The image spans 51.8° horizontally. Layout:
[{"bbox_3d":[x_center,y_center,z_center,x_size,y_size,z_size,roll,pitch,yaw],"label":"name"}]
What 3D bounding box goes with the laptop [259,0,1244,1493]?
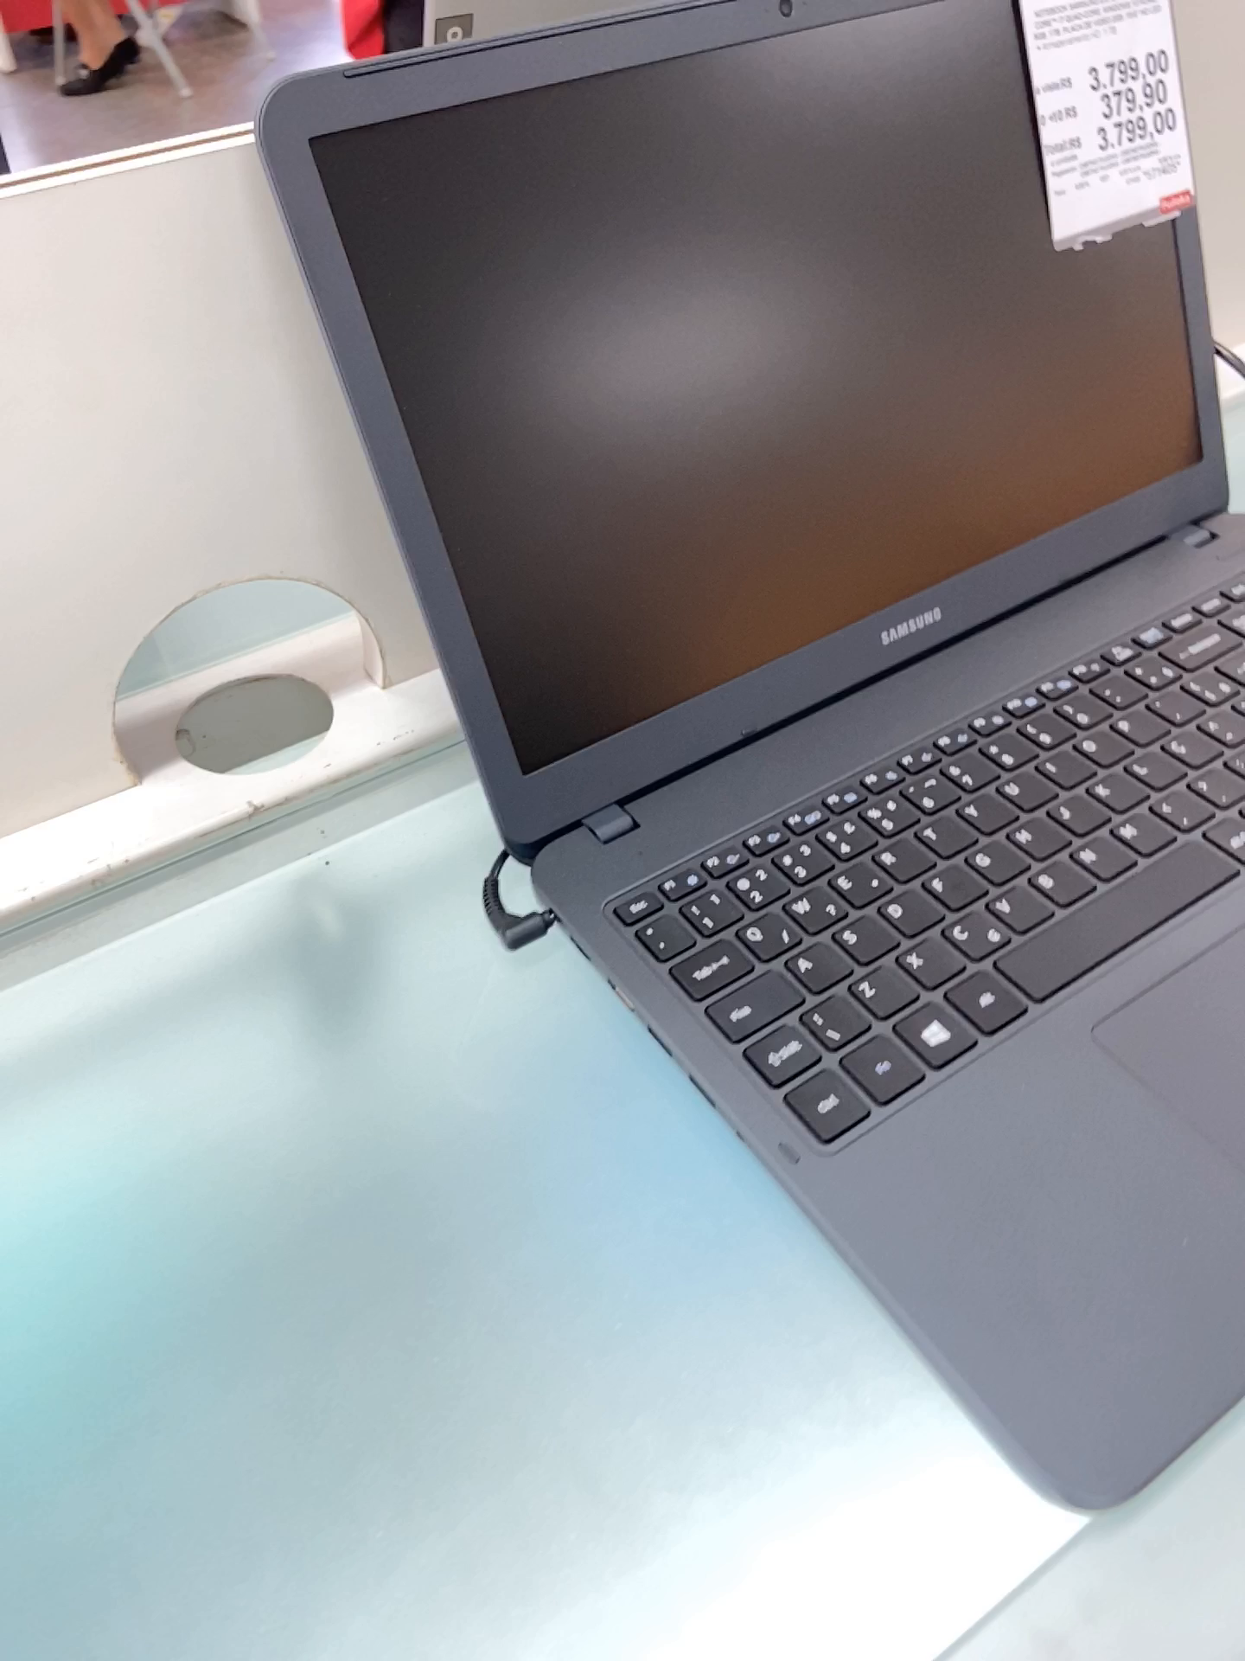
[{"bbox_3d":[0.153,-0.101,0.380,0.364,0.208,0.343,-26,48,-22],"label":"laptop"}]
